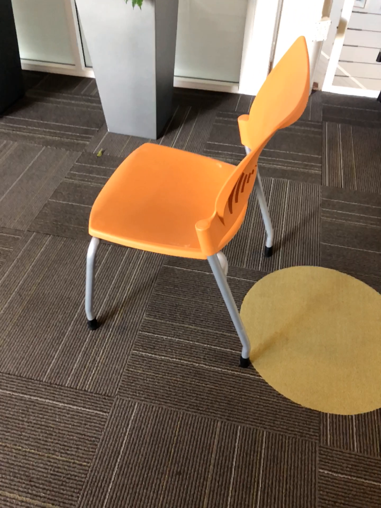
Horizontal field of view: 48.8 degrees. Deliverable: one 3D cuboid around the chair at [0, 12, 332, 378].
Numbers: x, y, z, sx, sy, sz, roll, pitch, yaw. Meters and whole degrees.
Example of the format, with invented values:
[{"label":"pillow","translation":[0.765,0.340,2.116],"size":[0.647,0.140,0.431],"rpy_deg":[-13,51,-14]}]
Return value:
[{"label":"chair","translation":[0.004,-0.174,1.238],"size":[0.610,0.747,0.642],"rpy_deg":[11,46,9]}]
